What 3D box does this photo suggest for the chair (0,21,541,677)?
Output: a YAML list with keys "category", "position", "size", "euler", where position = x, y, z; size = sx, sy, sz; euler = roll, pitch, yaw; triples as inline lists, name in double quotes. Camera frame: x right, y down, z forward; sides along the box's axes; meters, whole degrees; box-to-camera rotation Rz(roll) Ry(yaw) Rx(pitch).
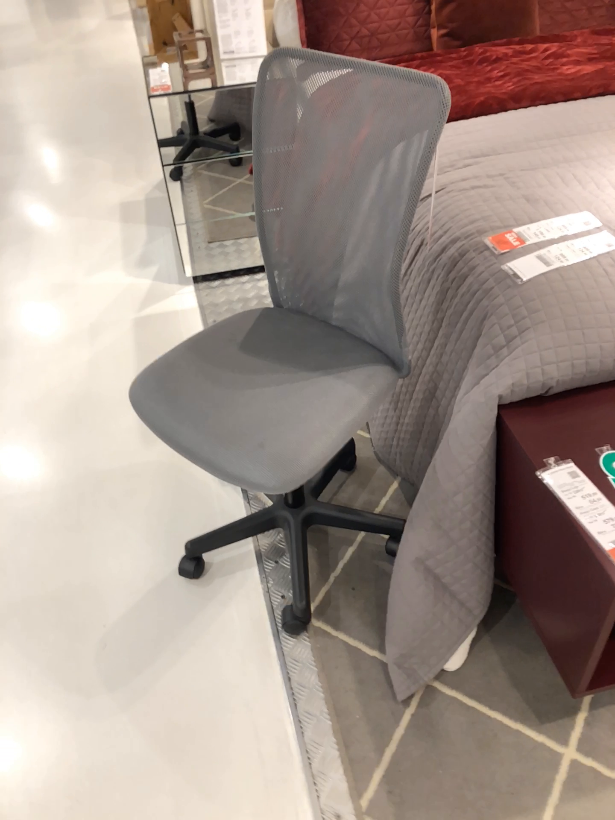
- category: "chair"
  position: [-0.056, -0.118, 1.311]
  size: [0.642, 0.943, 0.562]
  euler: [-32, 48, -27]
